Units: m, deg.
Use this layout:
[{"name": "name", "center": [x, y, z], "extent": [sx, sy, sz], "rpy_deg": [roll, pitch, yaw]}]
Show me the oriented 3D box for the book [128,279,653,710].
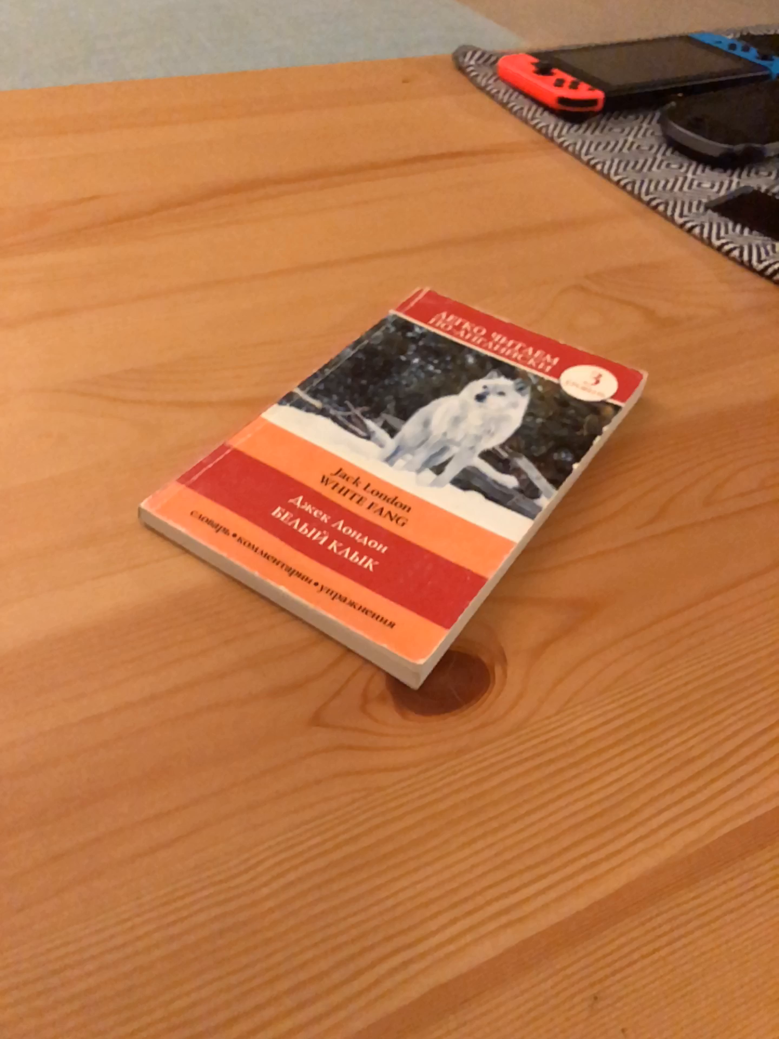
[{"name": "book", "center": [0.012, -0.030, 0.369], "extent": [0.129, 0.020, 0.205], "rpy_deg": [27, 50, 20]}]
